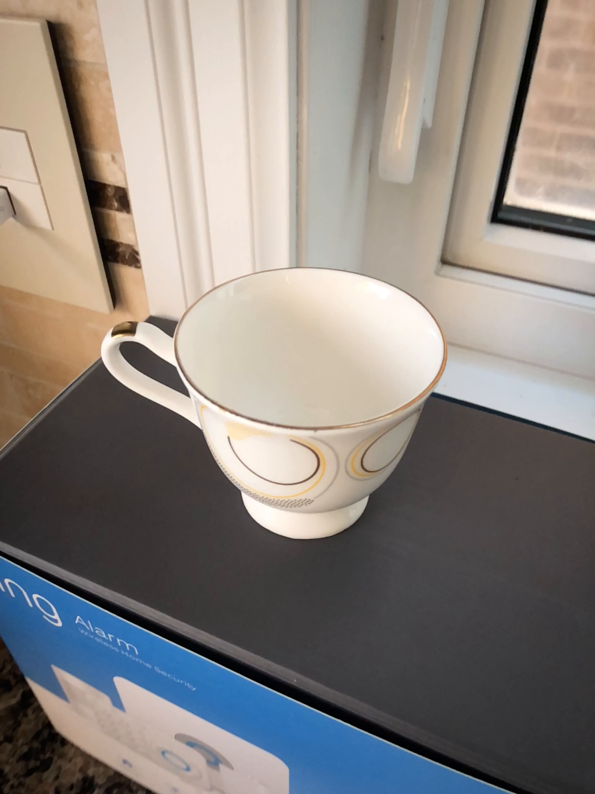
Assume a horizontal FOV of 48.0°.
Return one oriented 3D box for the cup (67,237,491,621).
[{"bbox_3d":[-0.001,0.005,0.213,0.100,0.066,0.076,14,44,15],"label":"cup"}]
